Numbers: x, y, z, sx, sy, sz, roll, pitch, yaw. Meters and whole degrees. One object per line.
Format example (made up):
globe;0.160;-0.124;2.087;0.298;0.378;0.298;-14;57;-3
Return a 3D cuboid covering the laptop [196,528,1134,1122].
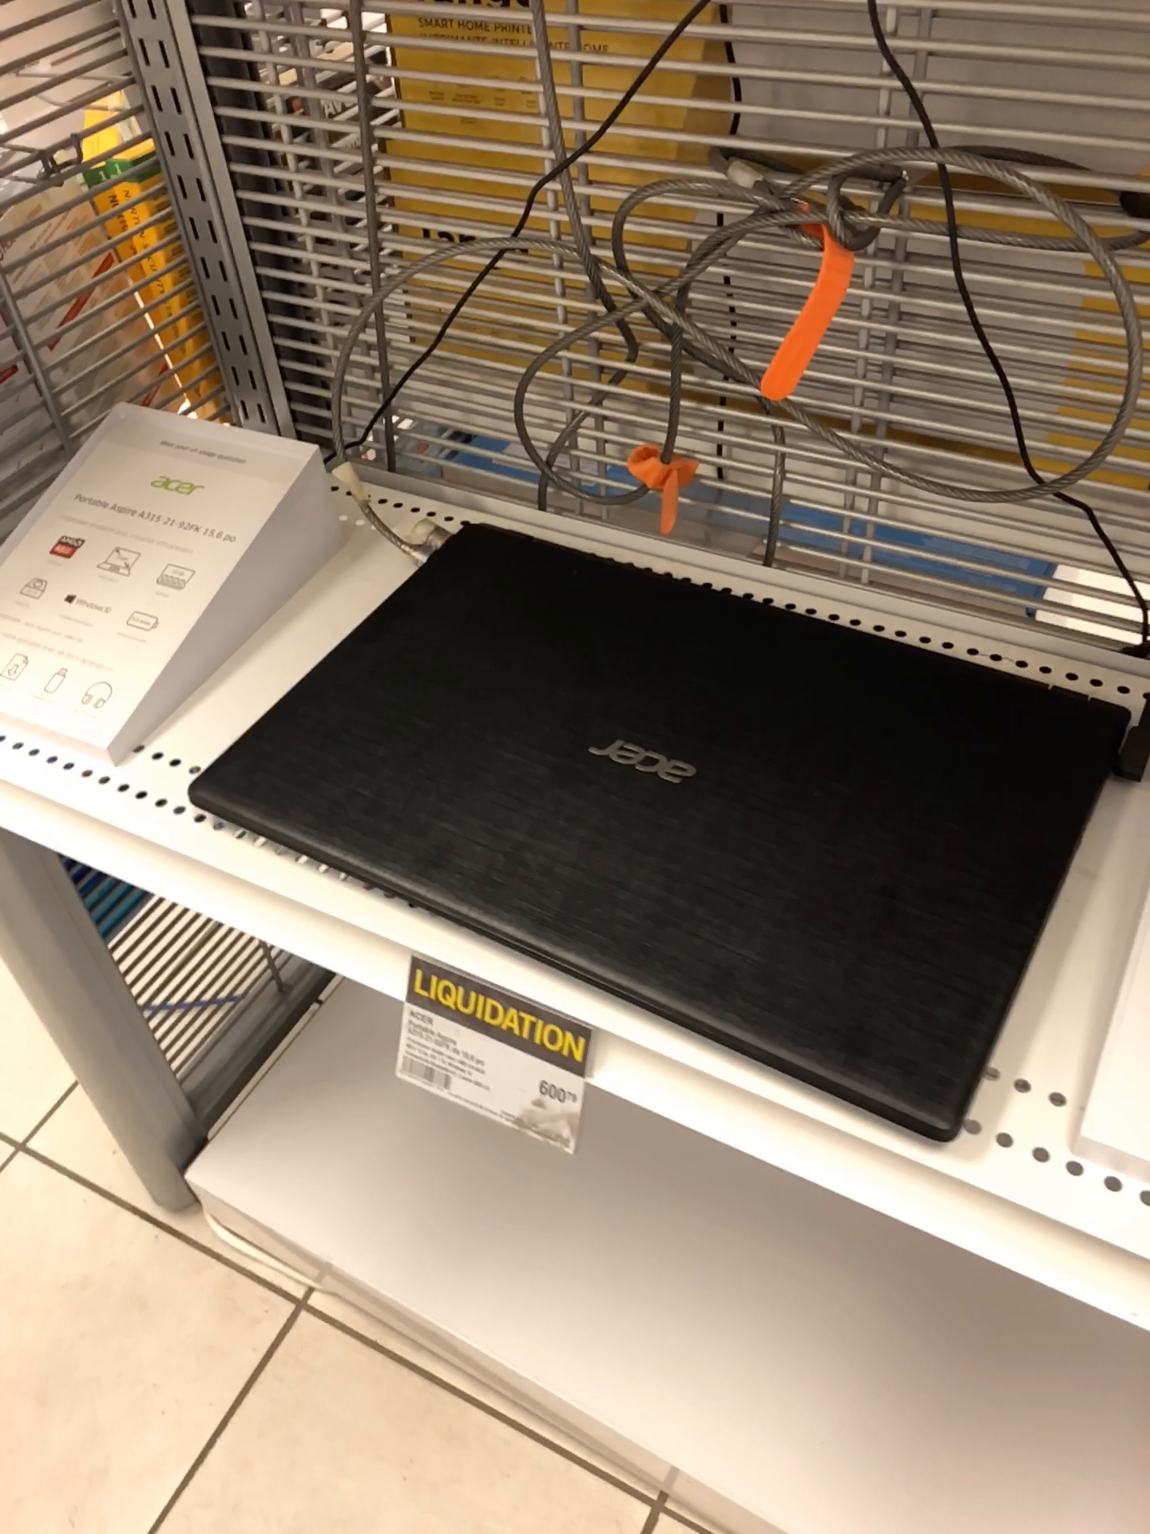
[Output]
laptop;0.042;-0.006;0.611;0.374;0.003;0.248;20;50;24
